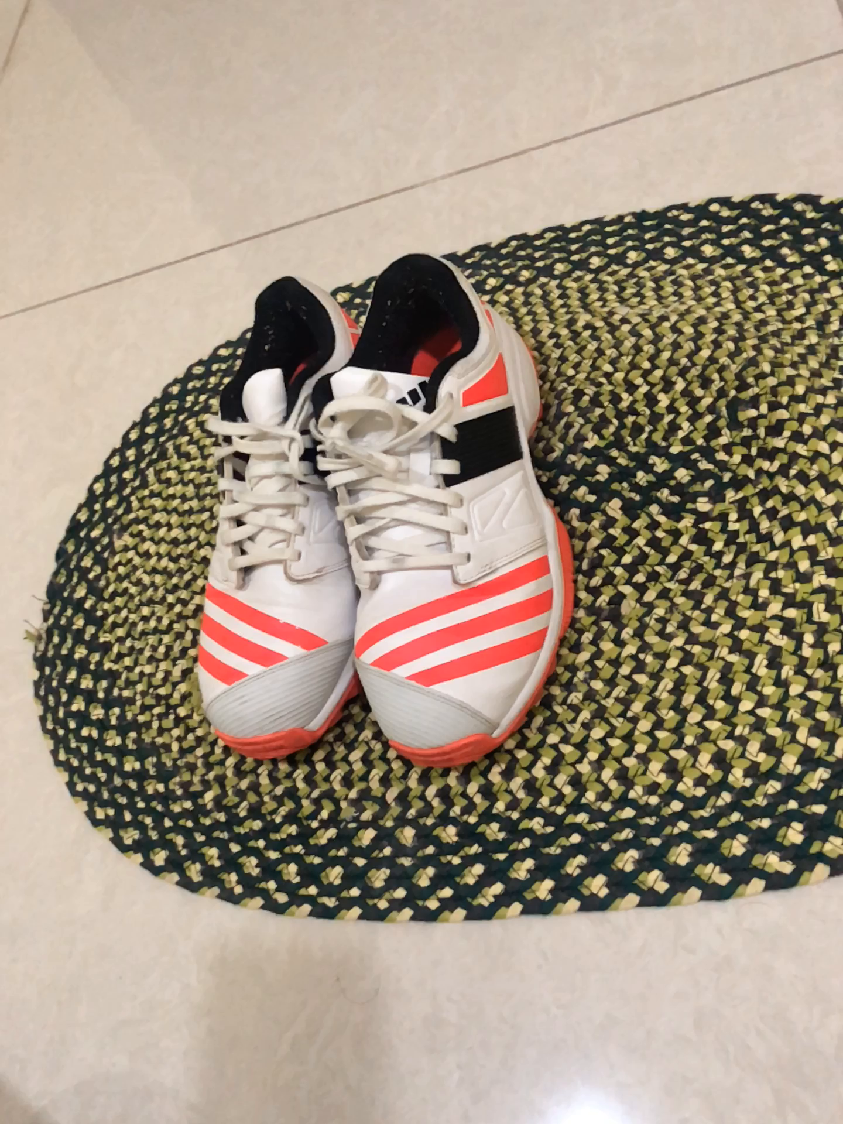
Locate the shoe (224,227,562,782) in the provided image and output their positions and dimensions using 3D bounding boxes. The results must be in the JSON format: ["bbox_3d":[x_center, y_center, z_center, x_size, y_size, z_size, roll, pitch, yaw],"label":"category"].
[{"bbox_3d":[-0.001,-0.028,0.468,0.110,0.100,0.250,-4,62,22],"label":"shoe"}]

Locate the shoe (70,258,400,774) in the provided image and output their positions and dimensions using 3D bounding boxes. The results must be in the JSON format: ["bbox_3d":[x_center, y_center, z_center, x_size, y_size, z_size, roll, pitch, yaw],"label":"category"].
[{"bbox_3d":[-0.091,-0.027,0.524,0.100,0.090,0.270,-4,62,22],"label":"shoe"}]
